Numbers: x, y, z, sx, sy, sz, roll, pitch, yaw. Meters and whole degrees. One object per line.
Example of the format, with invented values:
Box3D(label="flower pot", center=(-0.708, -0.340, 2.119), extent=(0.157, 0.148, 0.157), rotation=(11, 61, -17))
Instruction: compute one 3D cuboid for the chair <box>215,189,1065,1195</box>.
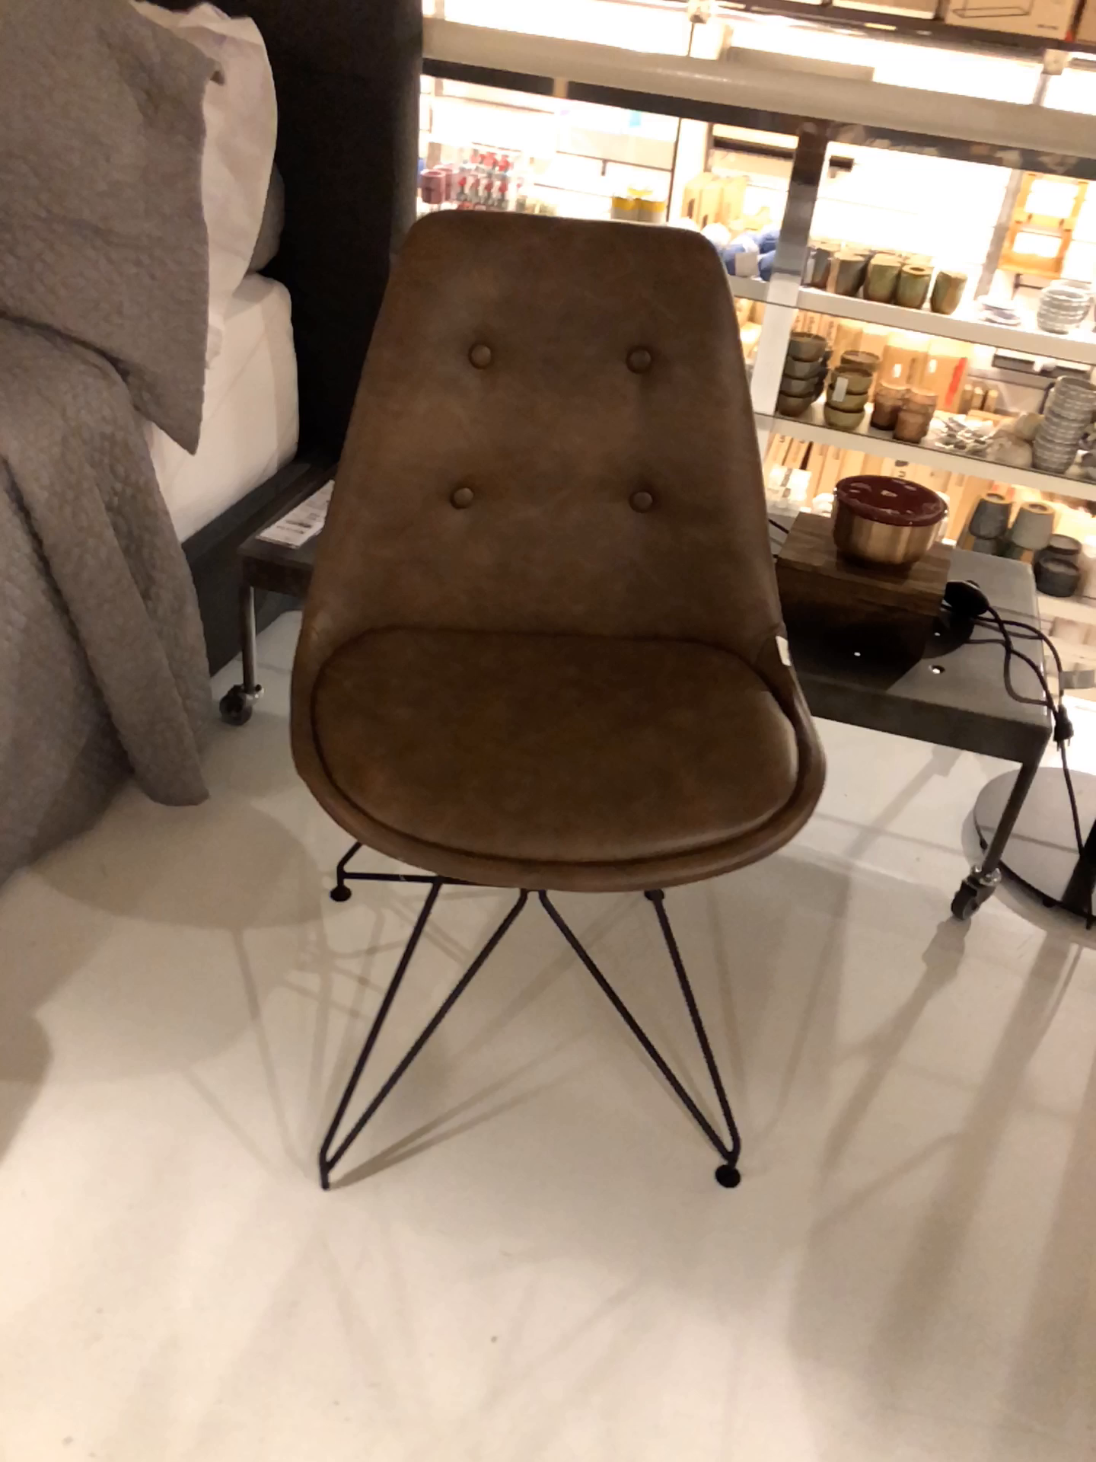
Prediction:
Box3D(label="chair", center=(0.009, -0.033, 1.145), extent=(0.510, 0.754, 0.554), rotation=(3, 34, -6))
